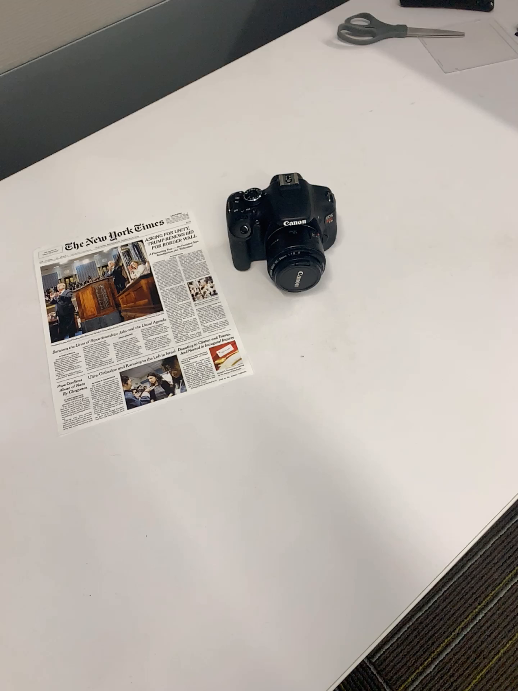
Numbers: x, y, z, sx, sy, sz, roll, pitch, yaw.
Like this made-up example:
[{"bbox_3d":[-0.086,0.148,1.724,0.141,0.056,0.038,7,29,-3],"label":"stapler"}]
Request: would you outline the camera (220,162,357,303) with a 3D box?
[{"bbox_3d":[0.031,-0.132,0.625,0.136,0.090,0.119,-7,57,0],"label":"camera"}]
